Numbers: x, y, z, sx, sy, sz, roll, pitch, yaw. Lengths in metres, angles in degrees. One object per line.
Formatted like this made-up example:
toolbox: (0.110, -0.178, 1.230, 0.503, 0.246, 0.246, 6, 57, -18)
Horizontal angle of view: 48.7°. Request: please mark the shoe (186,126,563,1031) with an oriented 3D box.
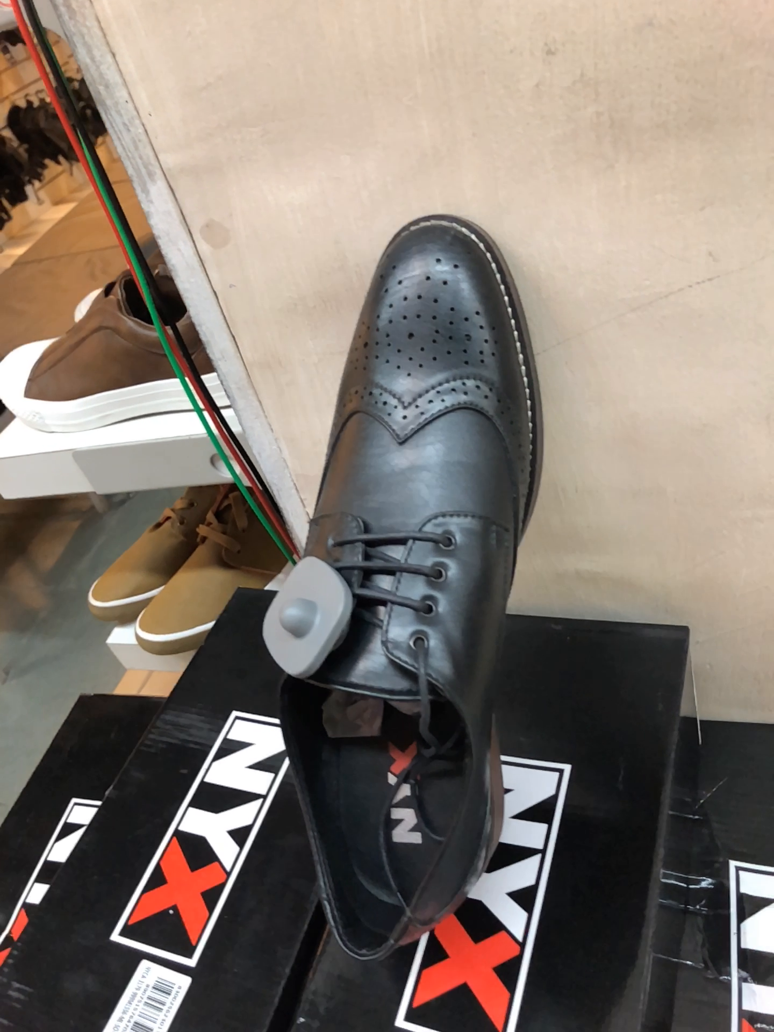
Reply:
shoe: (0.001, 0.019, 0.348, 0.106, 0.297, 0.107, 3, 1, 23)
